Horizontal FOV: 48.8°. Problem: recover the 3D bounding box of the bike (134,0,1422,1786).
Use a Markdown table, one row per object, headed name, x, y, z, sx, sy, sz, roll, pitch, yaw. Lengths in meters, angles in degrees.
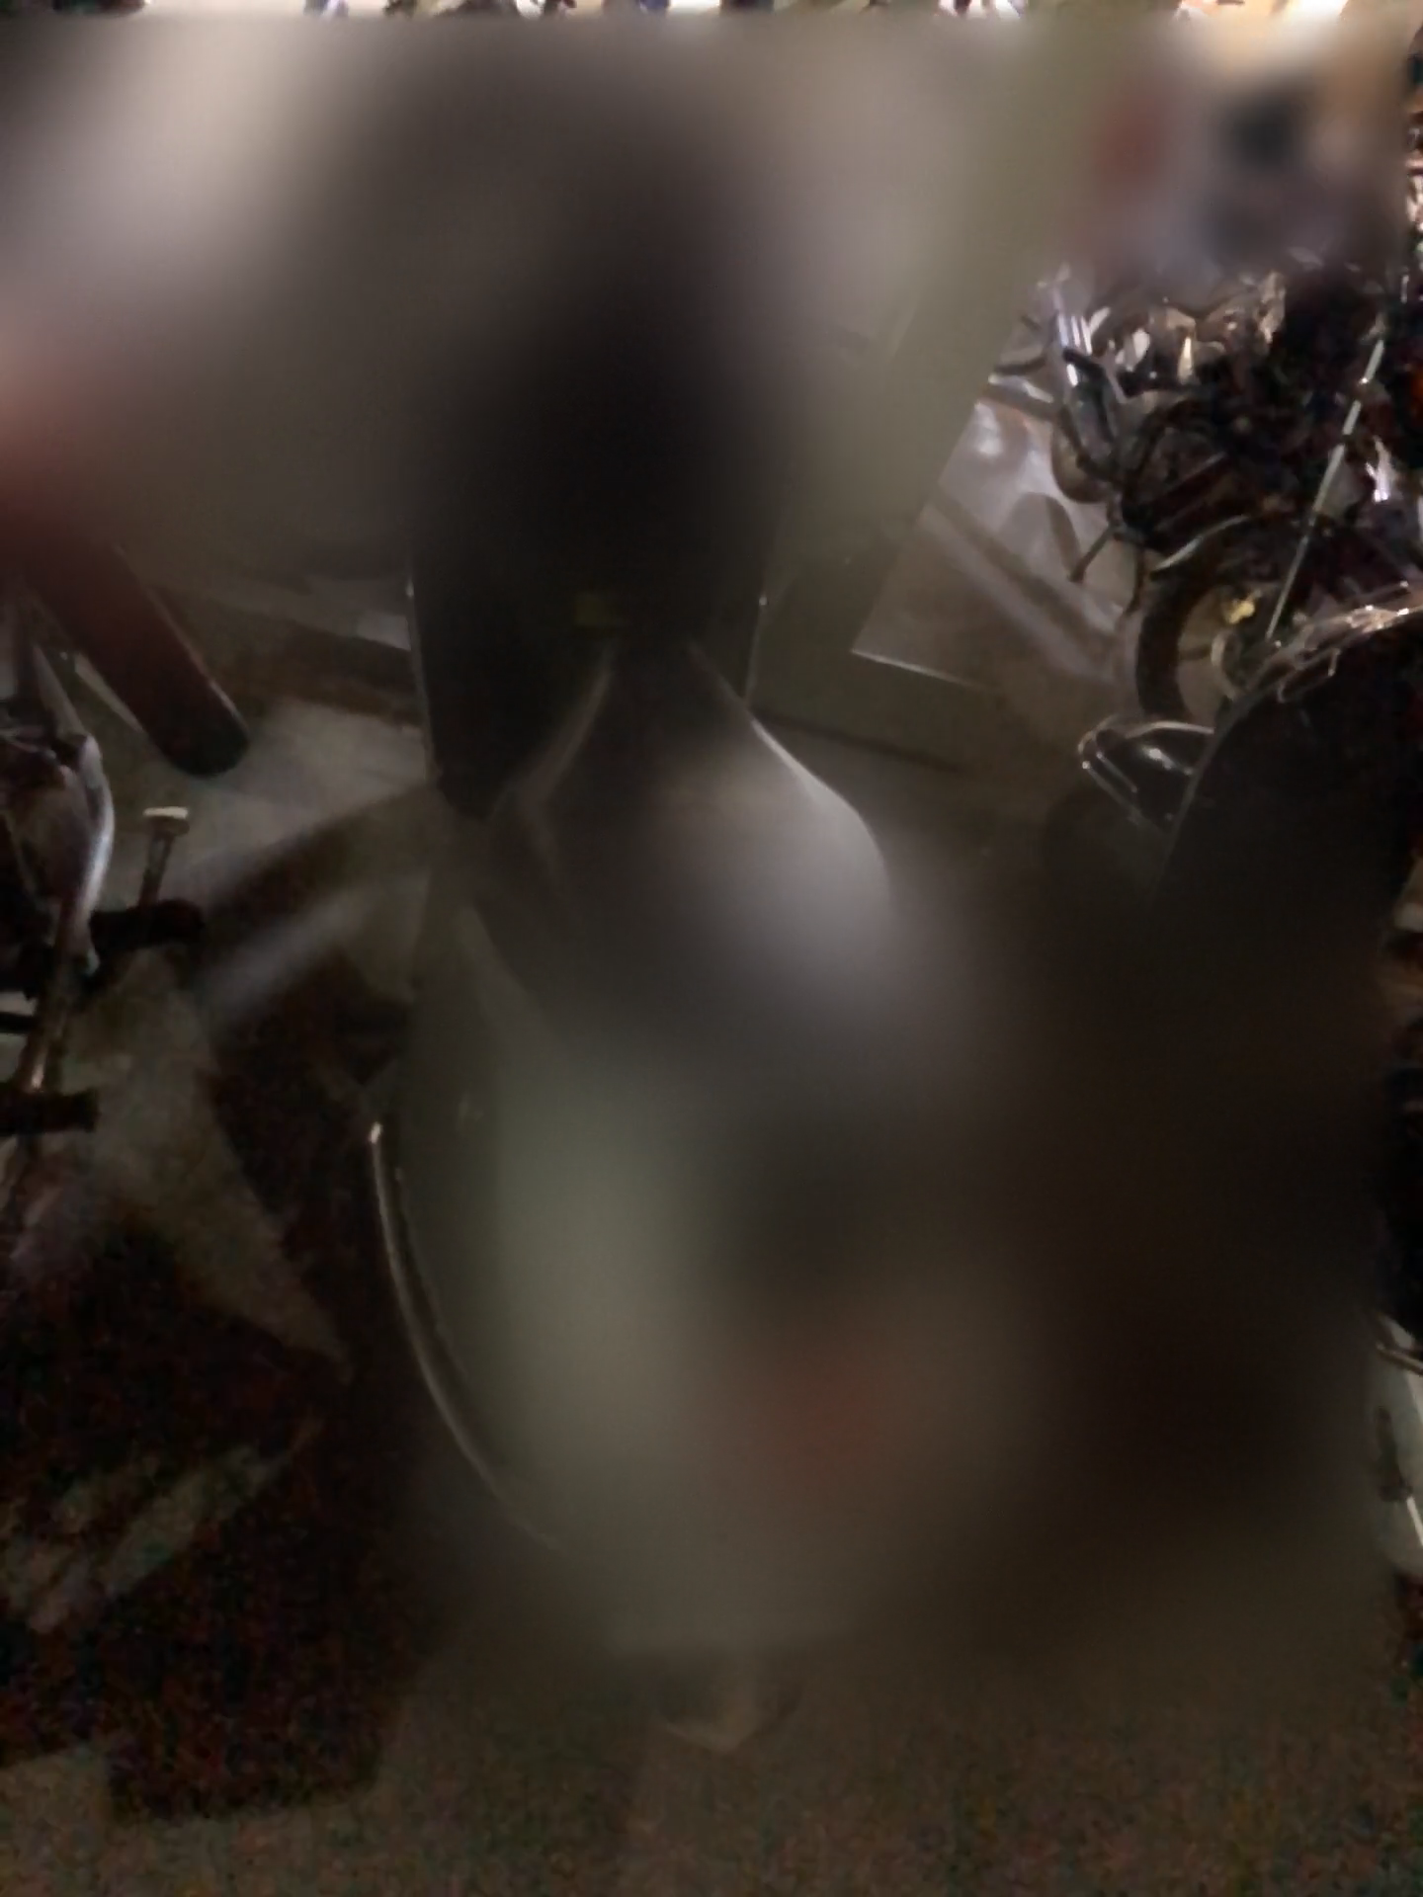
| name | x | y | z | sx | sy | sz | roll | pitch | yaw |
| --- | --- | --- | --- | --- | --- | --- | --- | --- | --- |
| bike | -0.121 | -0.117 | 1.598 | 0.603 | 1.094 | 1.386 | 10 | 39 | -22 |
